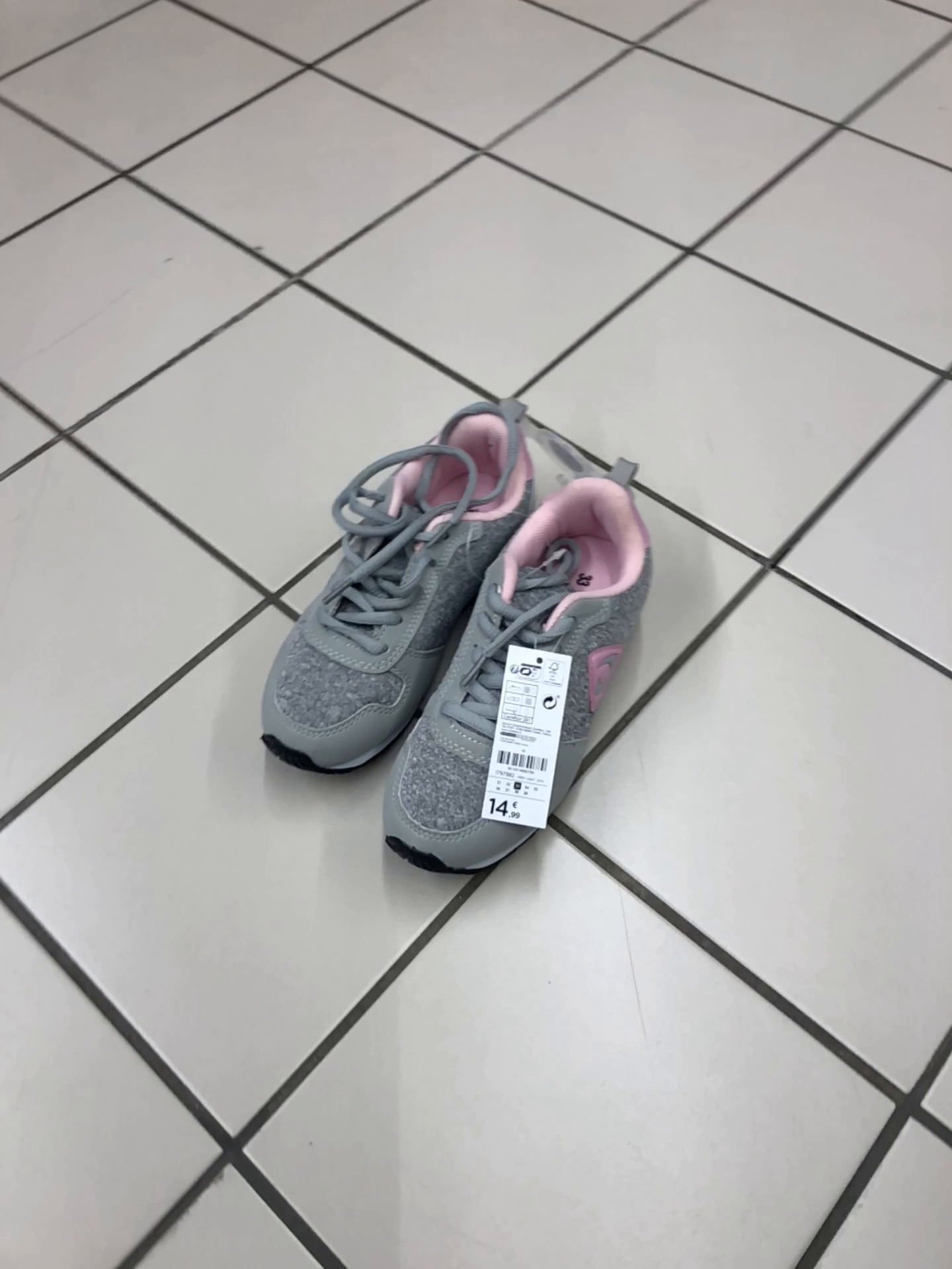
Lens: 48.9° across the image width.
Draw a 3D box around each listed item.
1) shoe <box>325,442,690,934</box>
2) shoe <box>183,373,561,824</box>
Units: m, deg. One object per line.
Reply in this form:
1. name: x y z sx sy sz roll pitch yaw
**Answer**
1. shoe: 0.023 0.019 0.510 0.082 0.083 0.215 21 60 16
2. shoe: -0.042 -0.025 0.543 0.082 0.083 0.215 24 60 17
